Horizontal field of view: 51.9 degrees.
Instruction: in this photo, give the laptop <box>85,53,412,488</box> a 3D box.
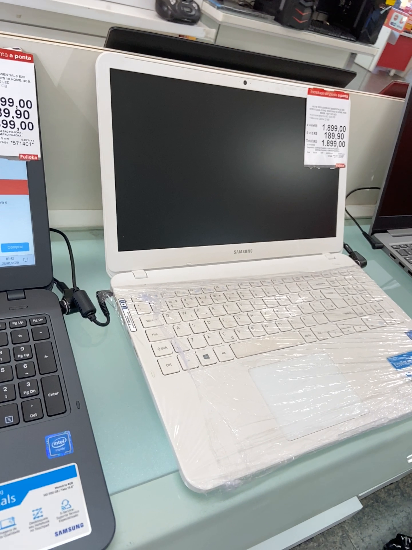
[{"bbox_3d":[0.101,-0.052,0.483,0.376,0.192,0.382,-5,45,-29],"label":"laptop"}]
